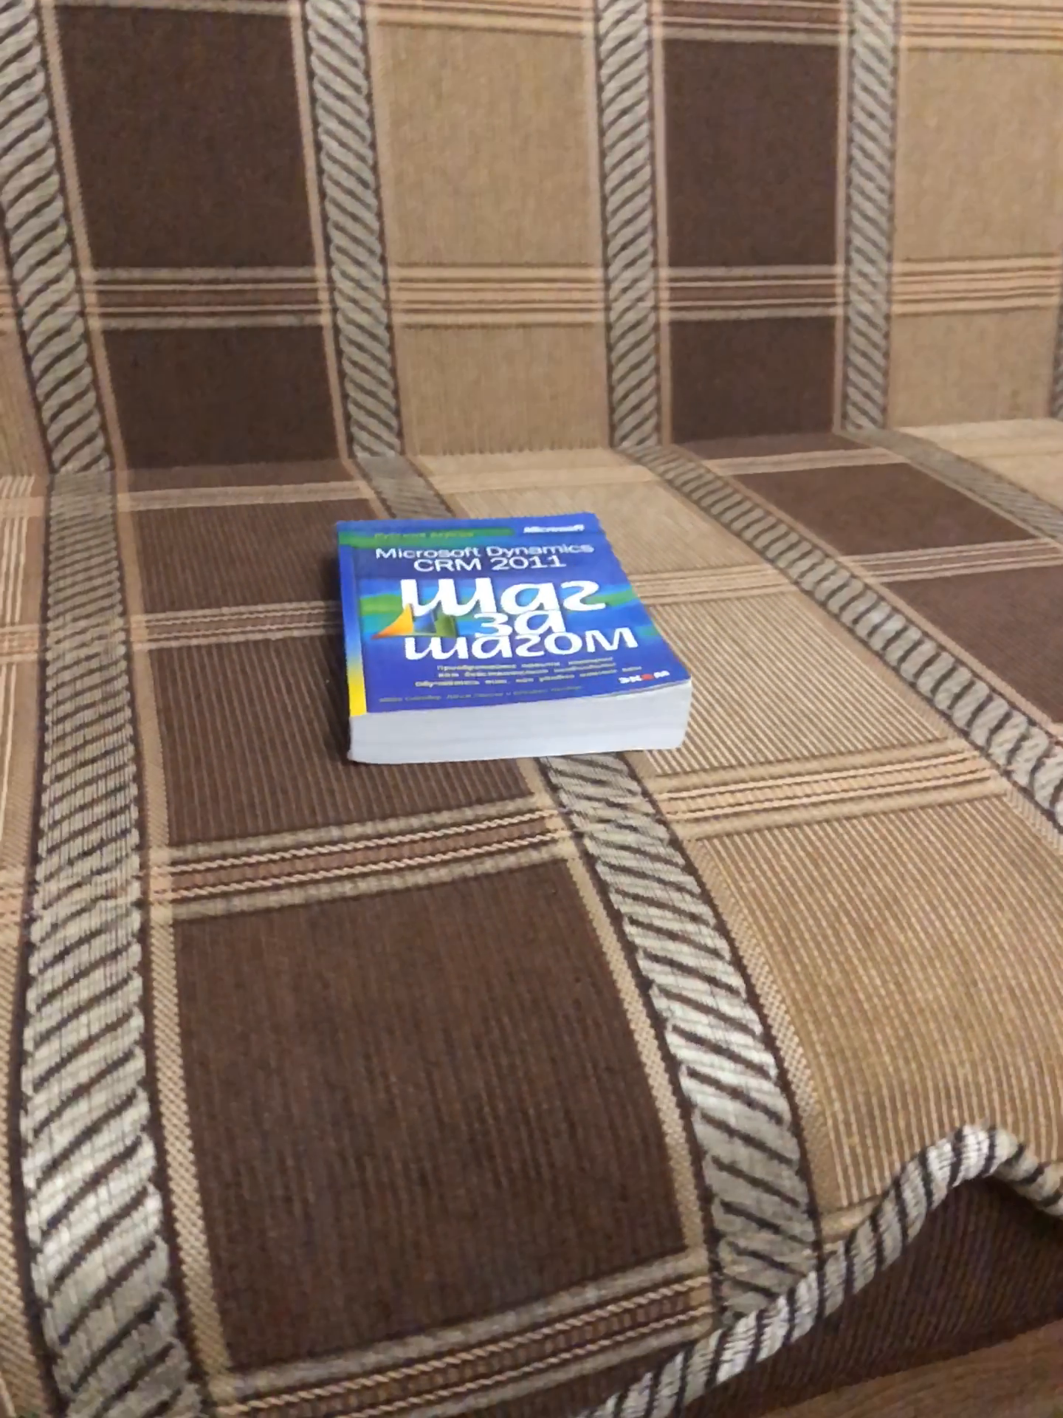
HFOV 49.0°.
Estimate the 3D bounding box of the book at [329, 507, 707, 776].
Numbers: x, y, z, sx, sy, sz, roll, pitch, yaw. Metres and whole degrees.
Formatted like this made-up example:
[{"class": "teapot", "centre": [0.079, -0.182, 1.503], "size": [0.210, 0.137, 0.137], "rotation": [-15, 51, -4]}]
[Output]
[{"class": "book", "centre": [-0.019, -0.043, 0.567], "size": [0.150, 0.033, 0.201], "rotation": [-3, 32, -10]}]
